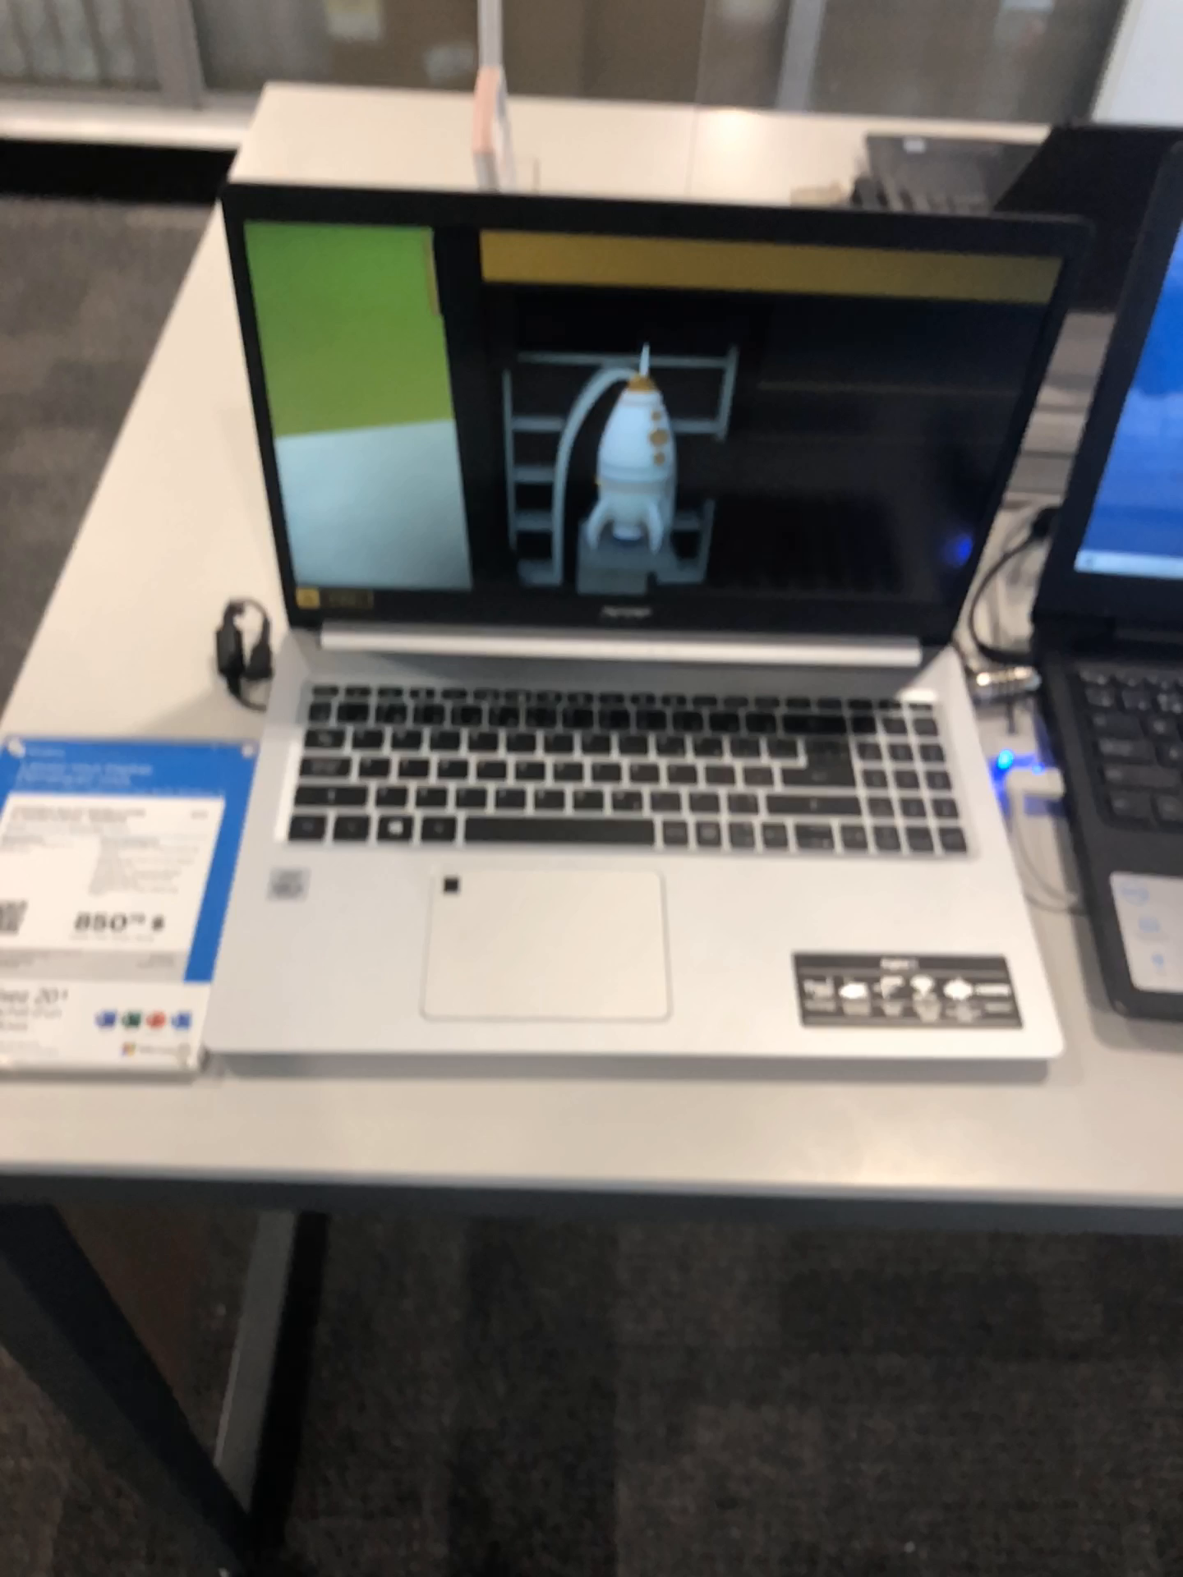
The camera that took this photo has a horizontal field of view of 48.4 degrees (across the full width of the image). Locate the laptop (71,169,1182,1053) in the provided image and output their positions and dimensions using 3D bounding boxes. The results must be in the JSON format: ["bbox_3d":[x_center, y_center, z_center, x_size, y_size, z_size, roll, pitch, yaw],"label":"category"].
[{"bbox_3d":[0.020,-0.071,0.547,0.349,0.229,0.267,1,50,-2],"label":"laptop"}]
